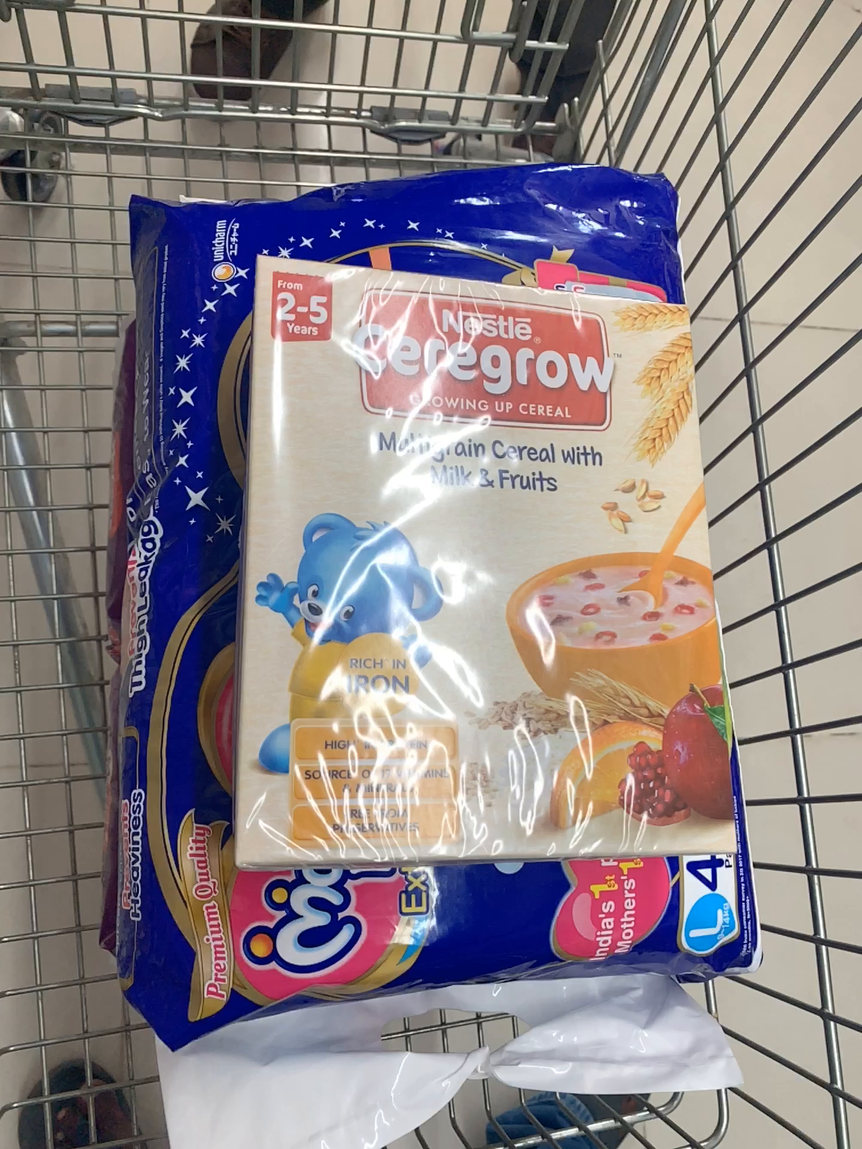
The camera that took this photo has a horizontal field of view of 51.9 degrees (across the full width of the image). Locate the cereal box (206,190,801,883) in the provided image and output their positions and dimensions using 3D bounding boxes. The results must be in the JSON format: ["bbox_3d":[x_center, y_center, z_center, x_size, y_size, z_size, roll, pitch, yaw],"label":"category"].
[{"bbox_3d":[0.018,-0.010,0.274,0.160,0.050,0.190,2,76,-13],"label":"cereal box"}]
